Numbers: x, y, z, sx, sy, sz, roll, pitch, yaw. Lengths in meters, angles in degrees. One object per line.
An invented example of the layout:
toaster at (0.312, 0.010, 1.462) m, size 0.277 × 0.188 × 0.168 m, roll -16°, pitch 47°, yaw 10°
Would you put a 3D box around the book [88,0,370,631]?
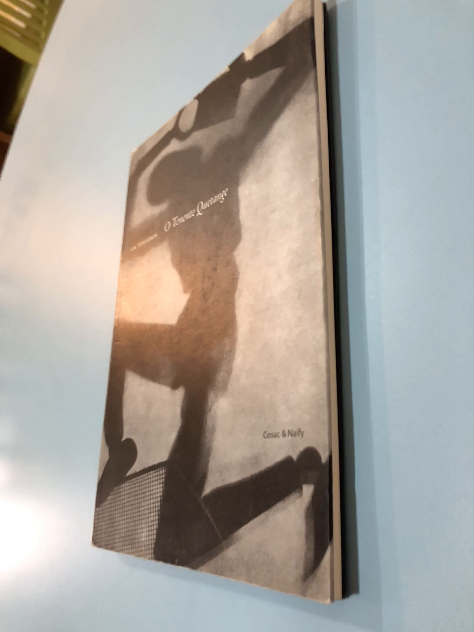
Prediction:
book at (-0.013, -0.004, 0.209) m, size 0.135 × 0.016 × 0.197 m, roll -18°, pitch 65°, yaw 48°
